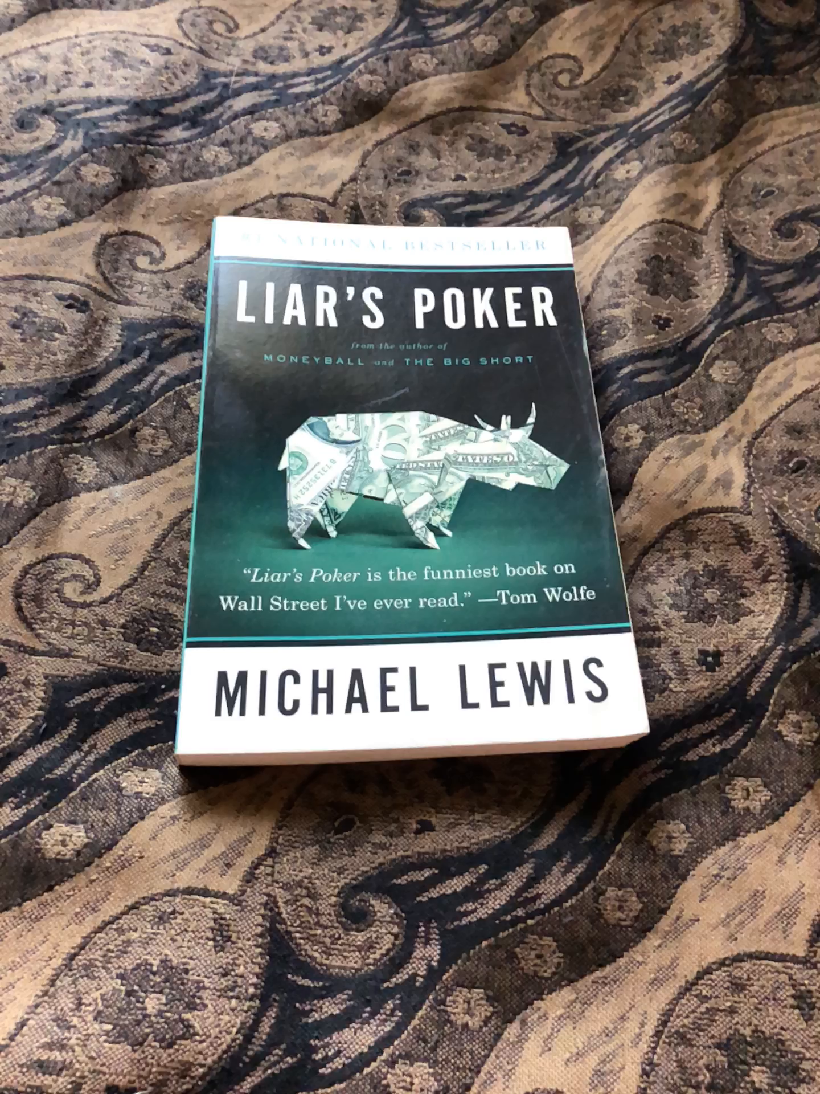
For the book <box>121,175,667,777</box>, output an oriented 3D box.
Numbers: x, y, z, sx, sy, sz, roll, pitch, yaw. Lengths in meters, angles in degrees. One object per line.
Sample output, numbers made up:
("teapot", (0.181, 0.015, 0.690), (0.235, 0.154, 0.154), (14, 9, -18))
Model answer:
("book", (-0.005, -0.032, 0.313), (0.150, 0.040, 0.210), (1, 65, -3))
